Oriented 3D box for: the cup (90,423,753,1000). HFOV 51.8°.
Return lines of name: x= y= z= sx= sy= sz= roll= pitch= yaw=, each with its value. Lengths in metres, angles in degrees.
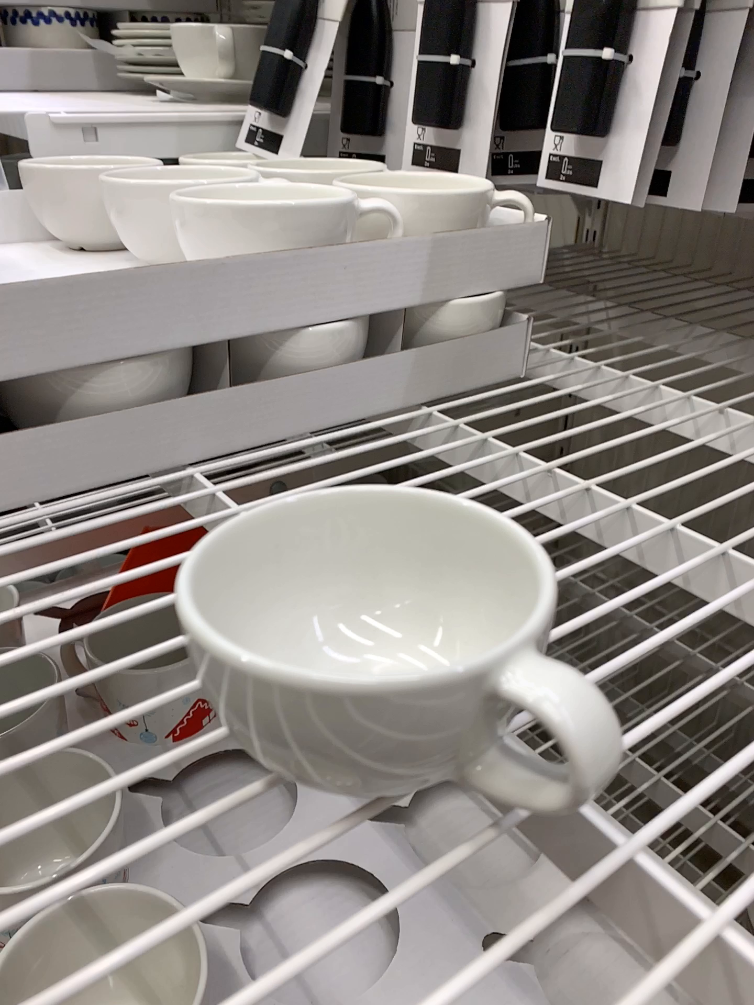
cup: x=0.007 y=0.027 z=0.182 sx=0.097 sy=0.036 sz=0.117 roll=-22 pitch=36 yaw=-37
